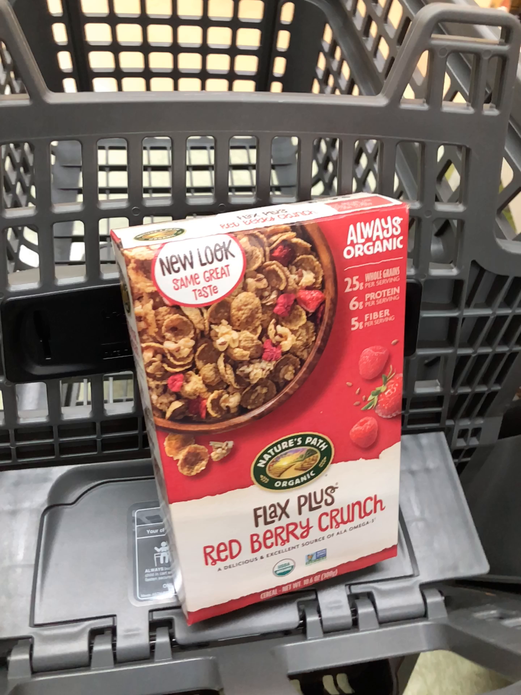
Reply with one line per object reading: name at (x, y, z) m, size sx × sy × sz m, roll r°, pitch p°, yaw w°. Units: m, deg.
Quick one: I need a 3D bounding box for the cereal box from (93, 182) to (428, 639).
cereal box at (0.009, 0.039, 0.365) m, size 0.170 × 0.250 × 0.070 m, roll -12°, pitch 24°, yaw -14°
